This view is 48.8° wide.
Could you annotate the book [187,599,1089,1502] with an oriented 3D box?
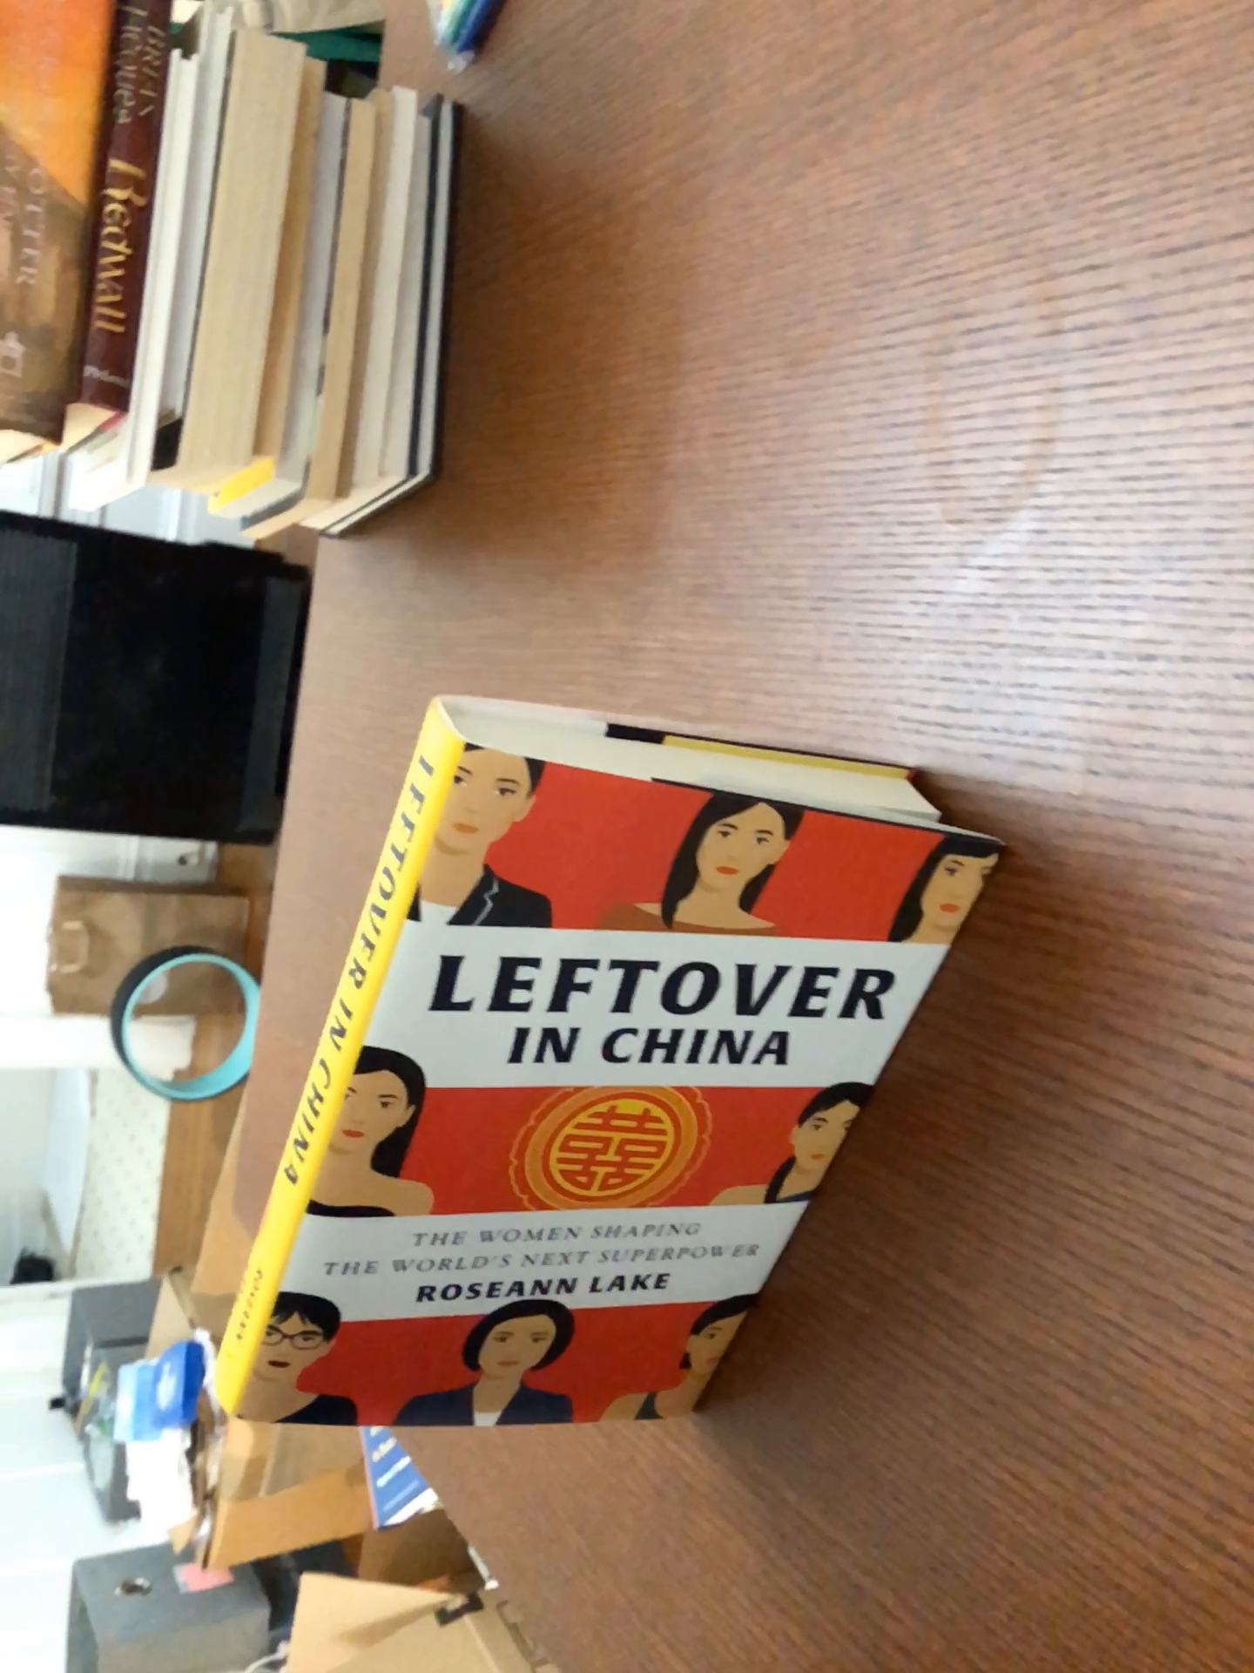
[{"bbox_3d":[-0.007,0.075,0.411,0.060,0.179,0.260,55,130,47],"label":"book"}]
